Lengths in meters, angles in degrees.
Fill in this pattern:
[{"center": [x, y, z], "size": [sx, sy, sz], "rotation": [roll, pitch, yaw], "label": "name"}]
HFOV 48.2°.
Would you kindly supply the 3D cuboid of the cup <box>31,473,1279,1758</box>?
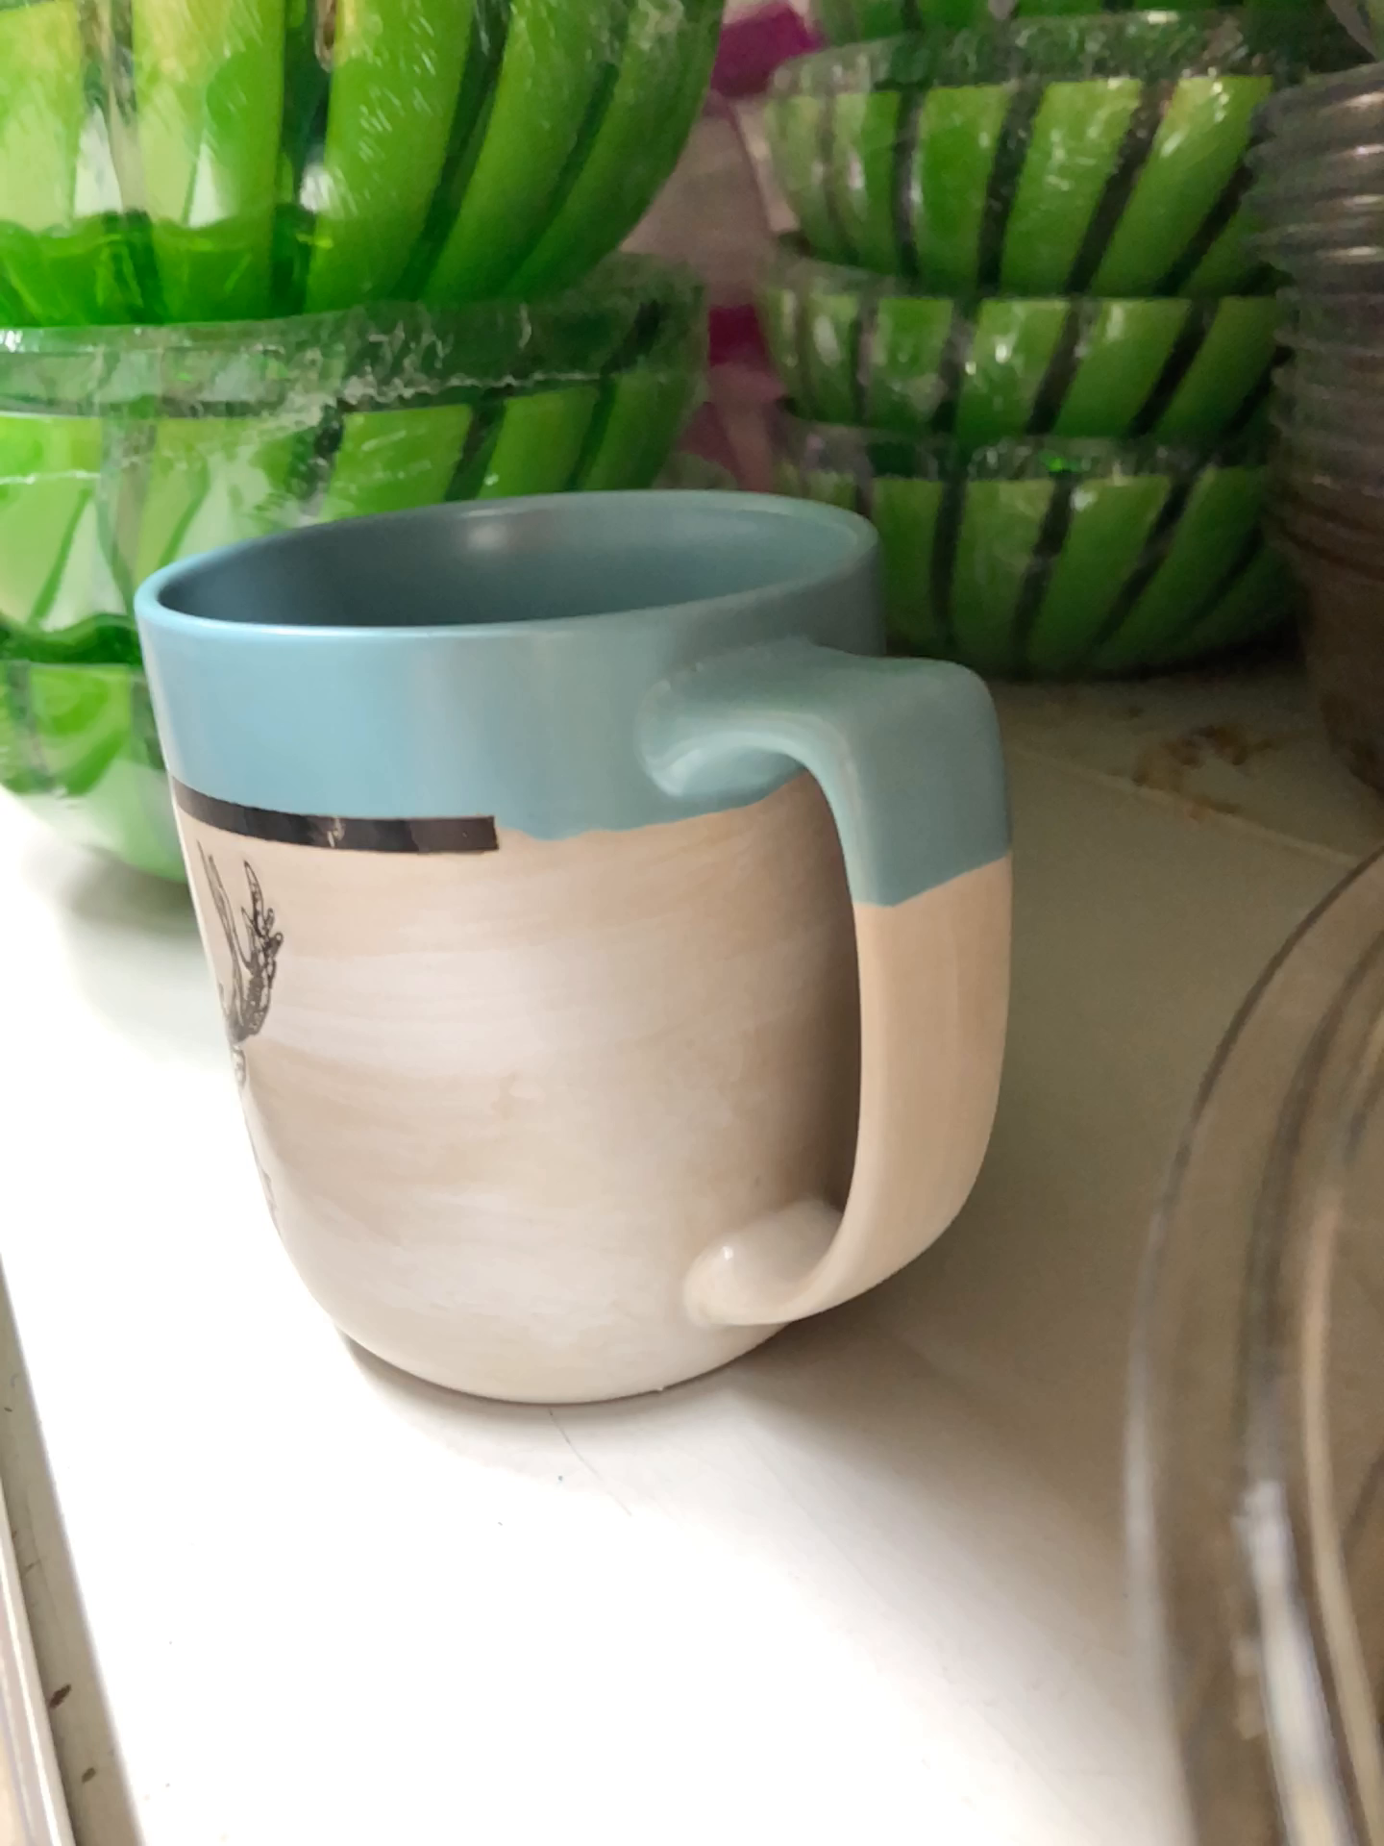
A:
[{"center": [-0.009, 0.004, 0.203], "size": [0.093, 0.102, 0.123], "rotation": [-20, 28, -33], "label": "cup"}]
